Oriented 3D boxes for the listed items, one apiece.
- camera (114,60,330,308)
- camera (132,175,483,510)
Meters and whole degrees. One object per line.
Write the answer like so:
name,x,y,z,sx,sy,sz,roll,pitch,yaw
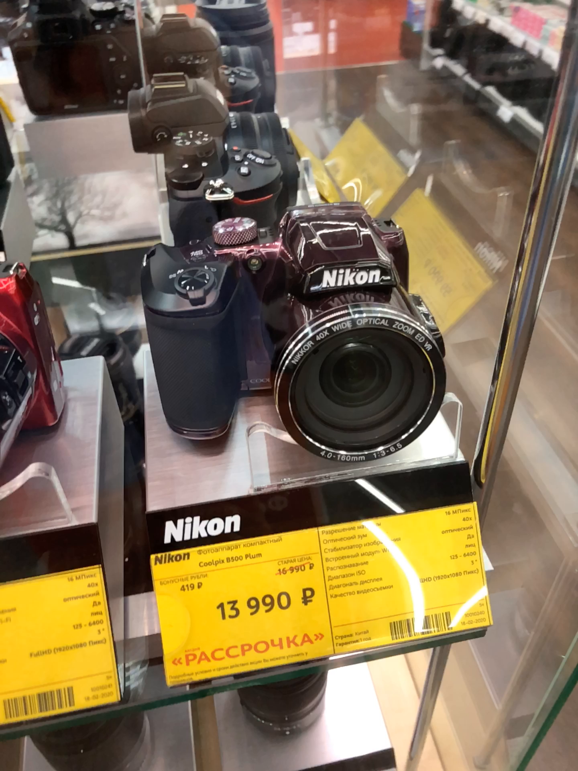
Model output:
camera,-0.039,-0.123,0.375,0.100,0.084,0.134,-7,41,-5
camera,0.000,-0.022,0.261,0.109,0.080,0.101,-7,41,-6
